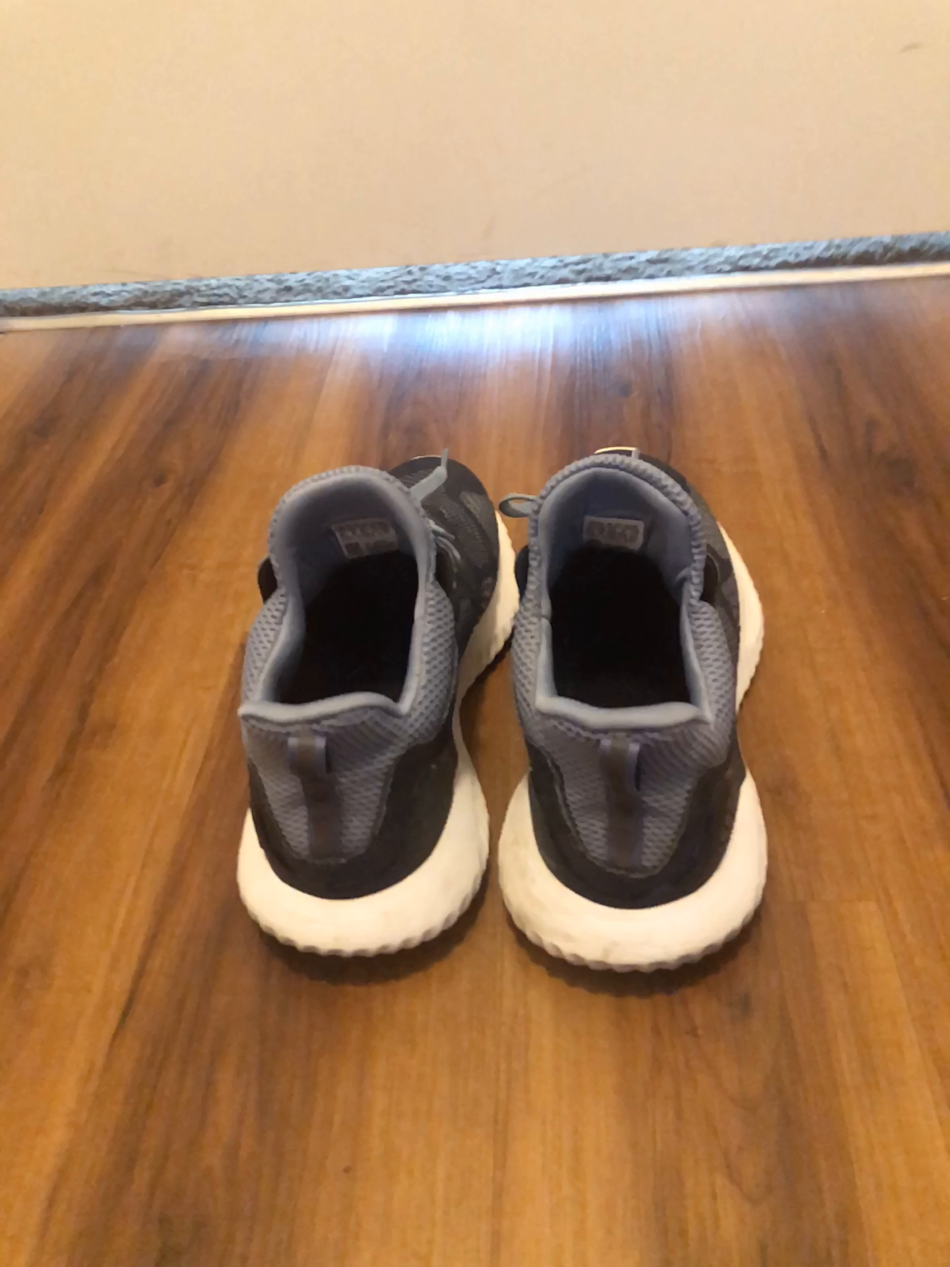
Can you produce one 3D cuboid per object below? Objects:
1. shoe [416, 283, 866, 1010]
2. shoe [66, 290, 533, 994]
[{"bbox_3d":[0.074,-0.024,0.474,0.131,0.130,0.335,1,42,9],"label":"shoe"},{"bbox_3d":[-0.046,-0.021,0.489,0.133,0.135,0.335,-1,42,6],"label":"shoe"}]
